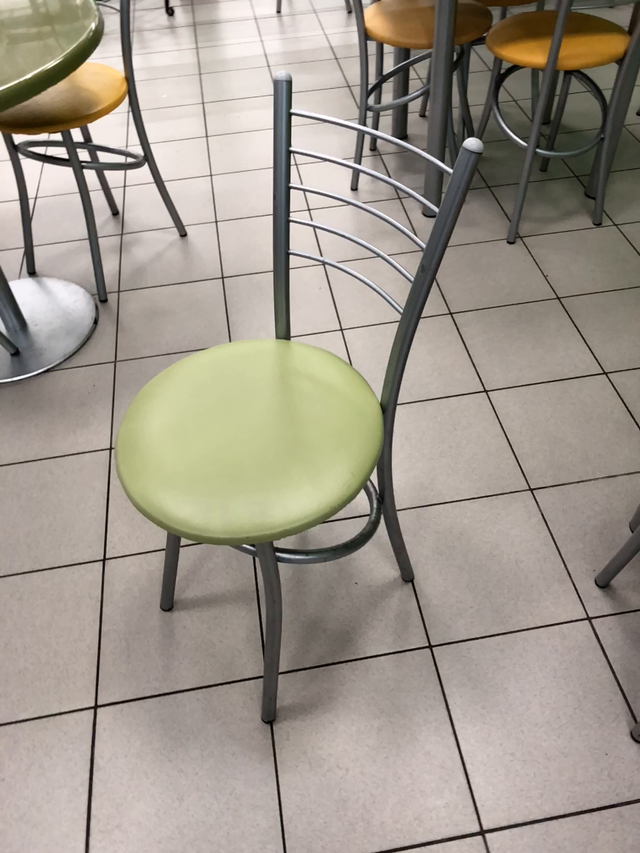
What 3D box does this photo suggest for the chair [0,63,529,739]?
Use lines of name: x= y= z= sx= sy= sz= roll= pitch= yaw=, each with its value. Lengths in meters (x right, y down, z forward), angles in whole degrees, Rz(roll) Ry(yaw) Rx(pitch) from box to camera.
chair: x=-0.056 y=0.012 z=1.046 sx=0.480 sy=0.826 sz=0.375 roll=-38 pitch=56 yaw=-26
